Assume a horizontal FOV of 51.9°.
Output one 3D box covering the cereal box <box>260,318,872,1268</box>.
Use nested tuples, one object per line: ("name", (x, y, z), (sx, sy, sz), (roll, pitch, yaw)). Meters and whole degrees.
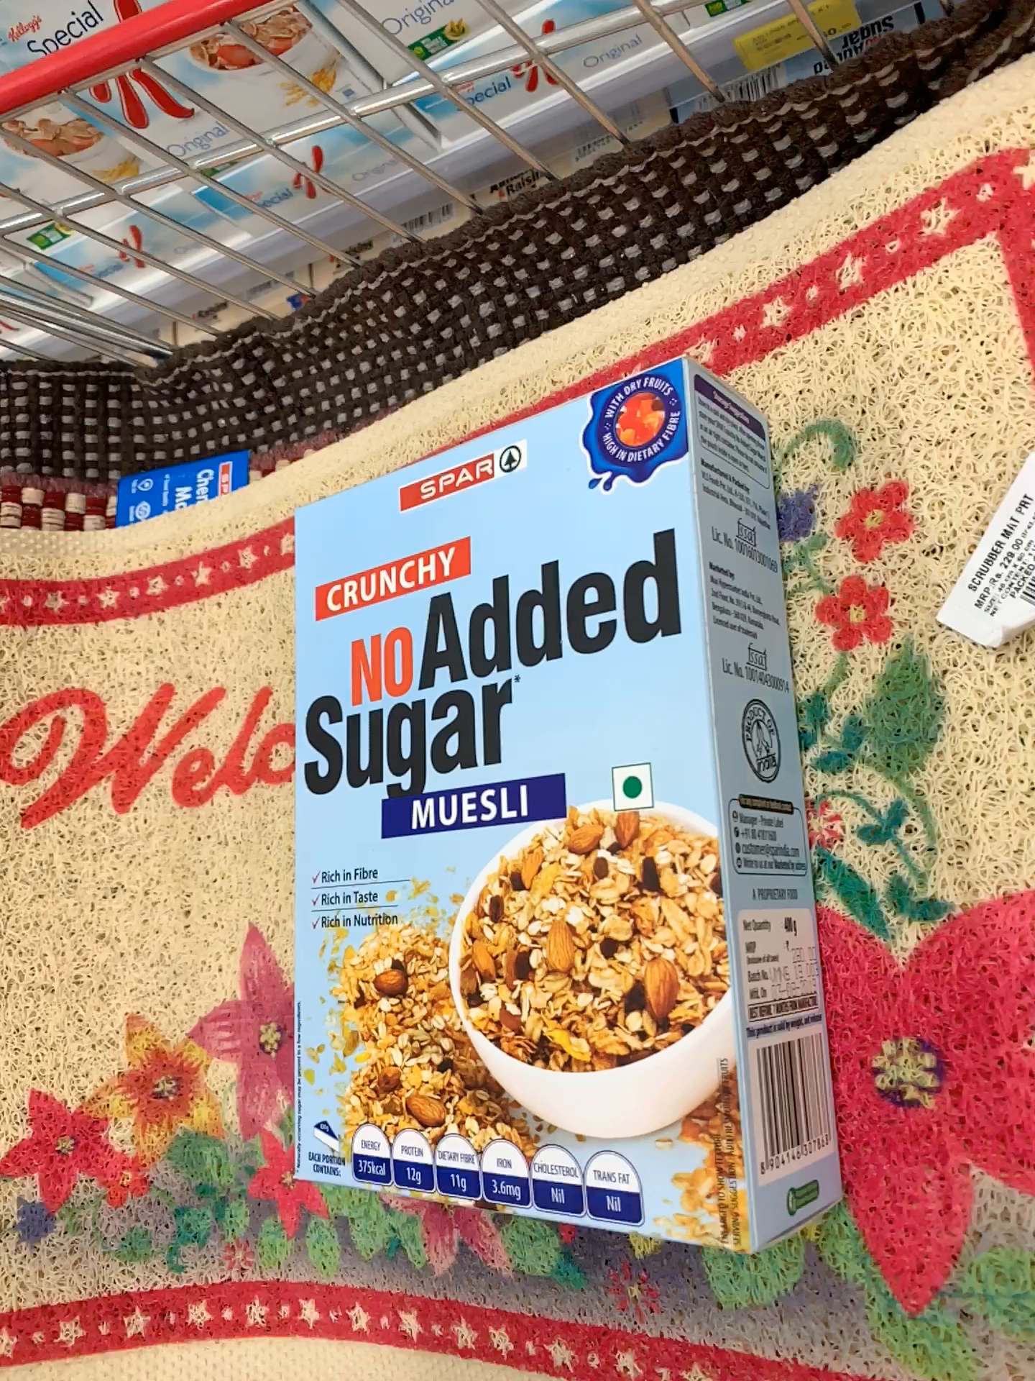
("cereal box", (-0.001, 0.032, 0.330), (0.181, 0.050, 0.230), (-12, 74, 37))
